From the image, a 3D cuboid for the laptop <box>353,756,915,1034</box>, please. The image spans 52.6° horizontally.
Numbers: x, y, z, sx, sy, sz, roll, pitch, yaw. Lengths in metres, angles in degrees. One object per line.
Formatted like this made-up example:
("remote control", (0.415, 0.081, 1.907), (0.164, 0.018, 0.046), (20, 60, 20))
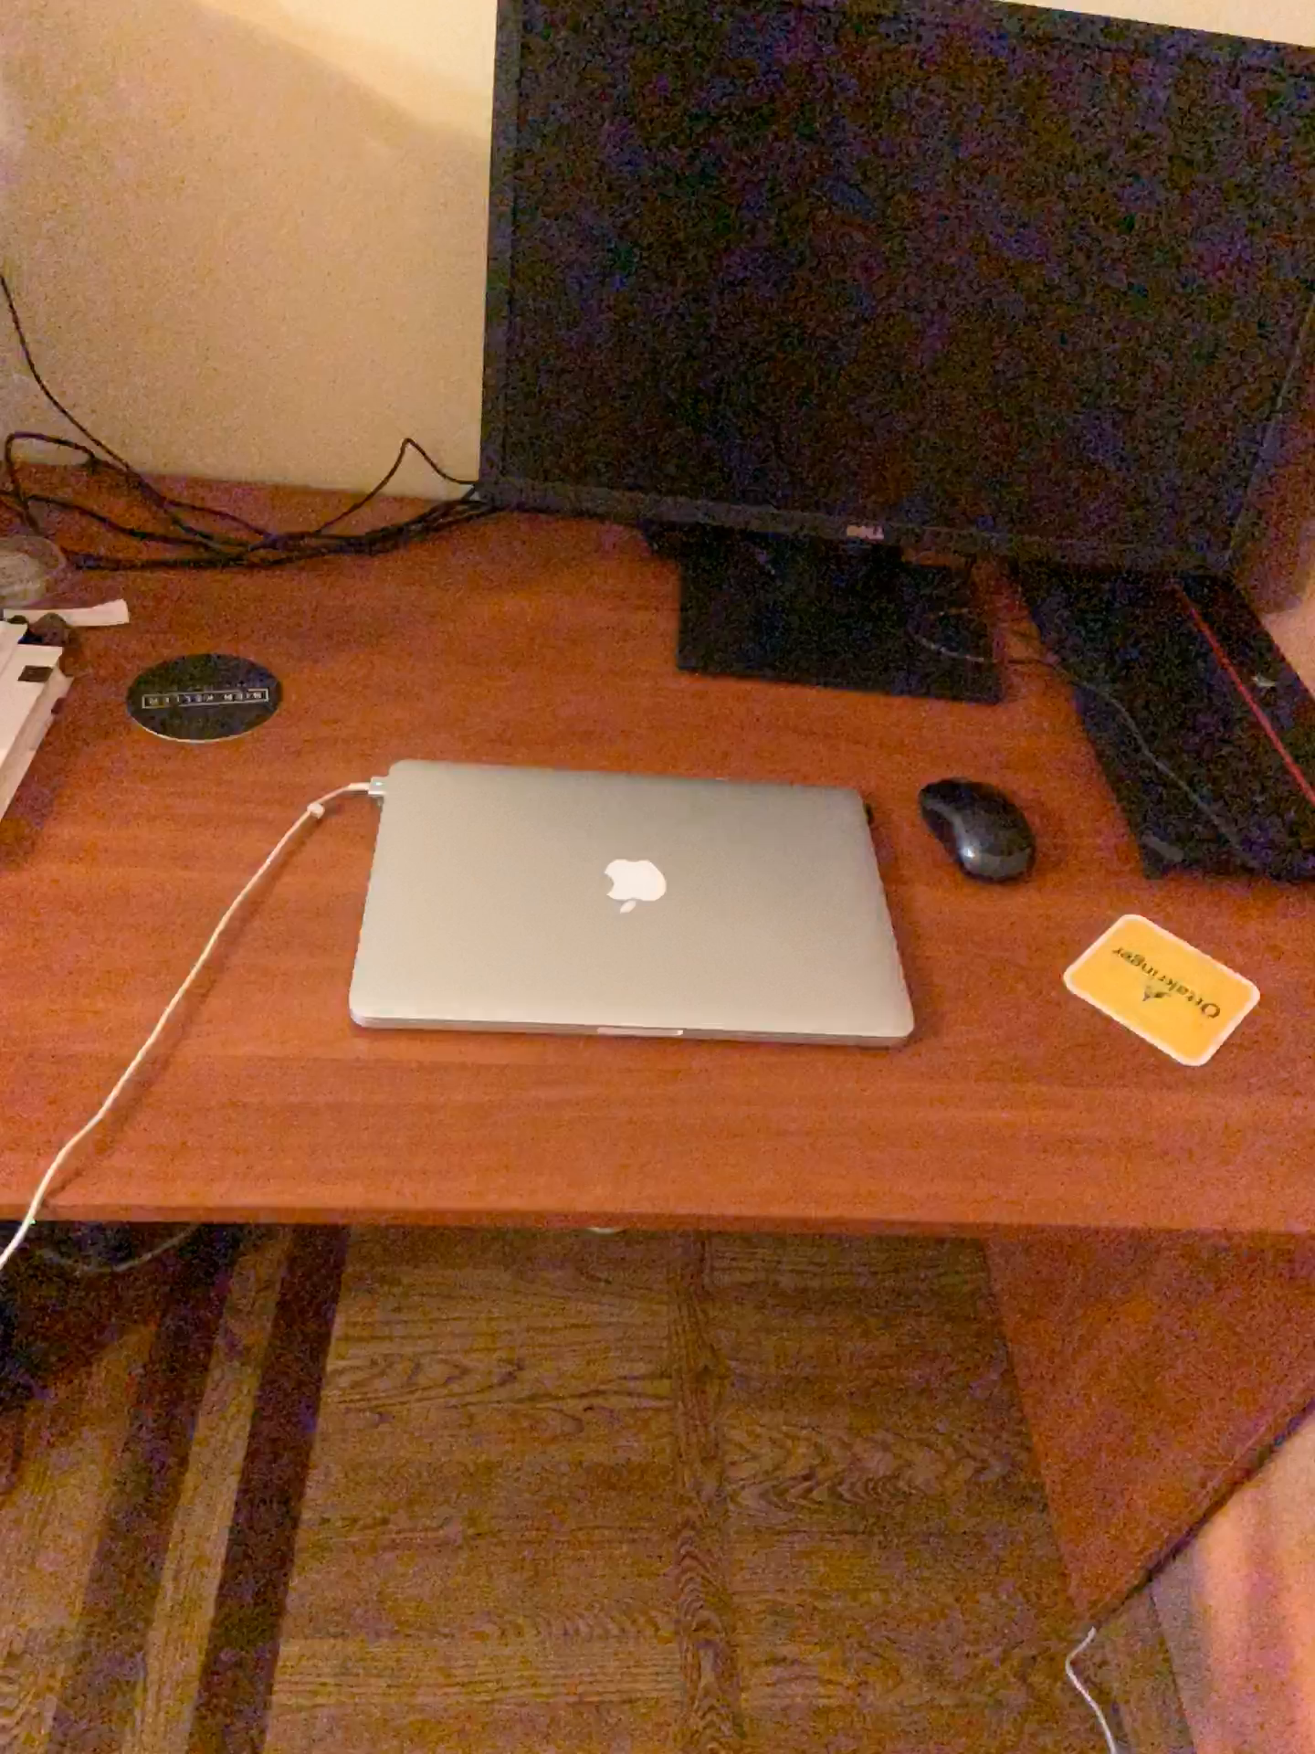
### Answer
("laptop", (-0.012, 0.005, 0.796), (0.305, 0.001, 0.214), (4, 43, -7))
